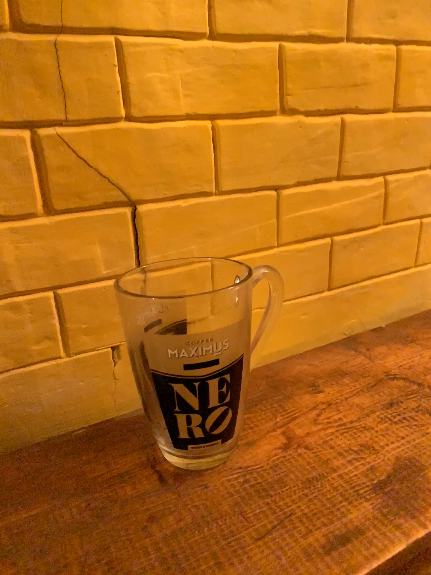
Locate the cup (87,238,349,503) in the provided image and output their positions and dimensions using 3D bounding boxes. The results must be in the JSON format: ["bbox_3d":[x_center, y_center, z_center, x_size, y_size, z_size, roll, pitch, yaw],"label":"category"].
[{"bbox_3d":[0.002,0.037,0.280,0.124,0.098,0.094,-15,25,-31],"label":"cup"}]
